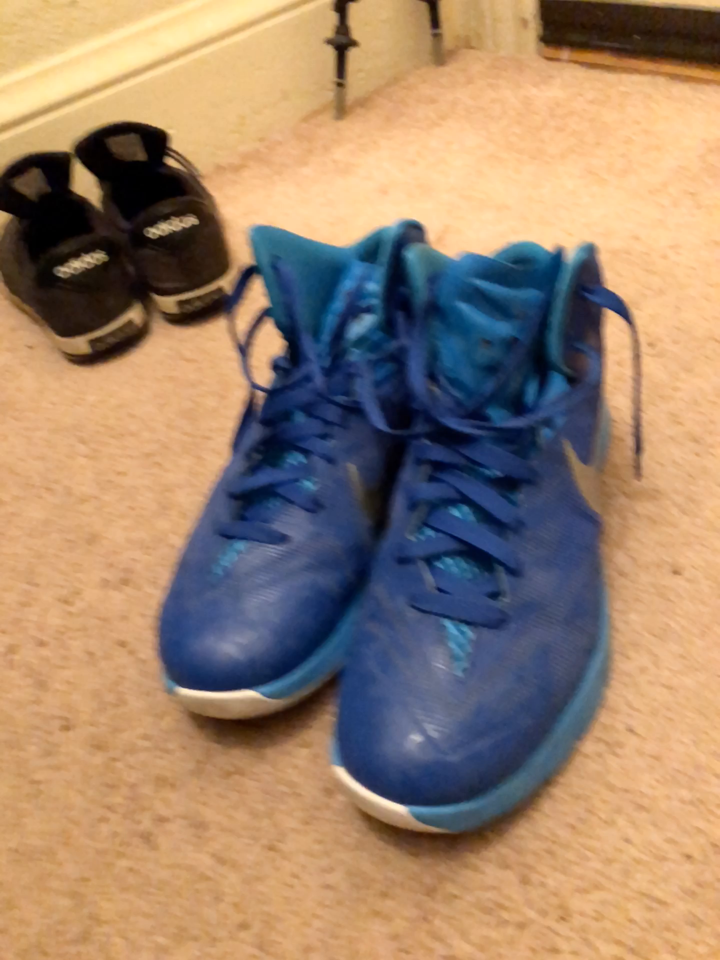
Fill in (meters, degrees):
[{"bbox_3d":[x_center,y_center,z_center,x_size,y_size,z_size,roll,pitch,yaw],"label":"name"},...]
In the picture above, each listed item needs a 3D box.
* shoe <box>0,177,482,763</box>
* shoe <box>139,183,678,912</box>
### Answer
[{"bbox_3d":[-0.045,-0.028,0.414,0.120,0.134,0.279,9,48,26],"label":"shoe"},{"bbox_3d":[0.054,0.001,0.349,0.122,0.134,0.281,7,47,25],"label":"shoe"}]
